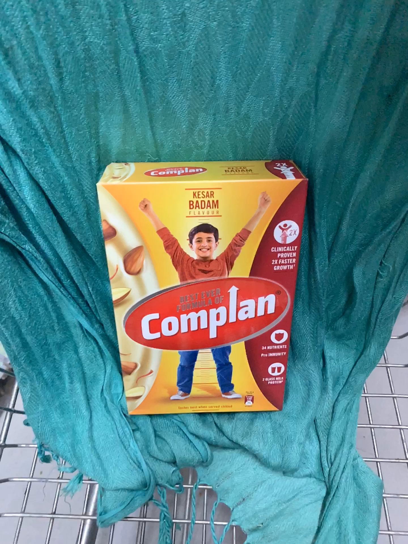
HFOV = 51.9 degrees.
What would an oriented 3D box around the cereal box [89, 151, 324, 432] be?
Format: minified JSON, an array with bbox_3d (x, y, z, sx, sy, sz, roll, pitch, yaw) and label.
[{"bbox_3d":[0.005,0.018,0.315,0.140,0.200,0.060,-2,22,1],"label":"cereal box"}]
